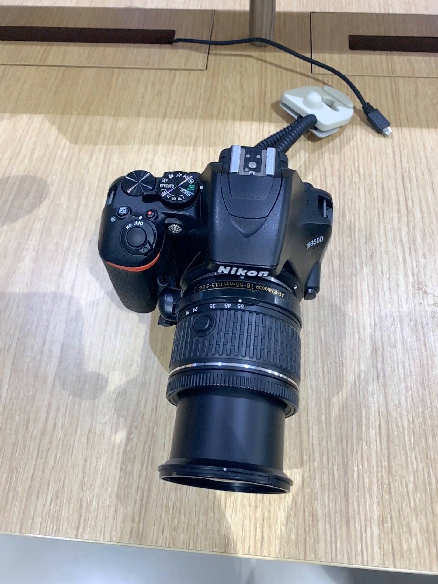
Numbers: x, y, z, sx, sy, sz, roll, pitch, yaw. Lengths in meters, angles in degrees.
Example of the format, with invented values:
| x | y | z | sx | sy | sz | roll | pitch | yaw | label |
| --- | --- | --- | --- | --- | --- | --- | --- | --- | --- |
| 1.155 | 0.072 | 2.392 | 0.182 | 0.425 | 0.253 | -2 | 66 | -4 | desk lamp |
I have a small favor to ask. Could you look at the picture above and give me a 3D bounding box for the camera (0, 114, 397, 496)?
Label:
| x | y | z | sx | sy | sz | roll | pitch | yaw | label |
| --- | --- | --- | --- | --- | --- | --- | --- | --- | --- |
| -0.003 | 0.010 | 0.202 | 0.115 | 0.100 | 0.136 | 2 | 63 | 3 | camera |
